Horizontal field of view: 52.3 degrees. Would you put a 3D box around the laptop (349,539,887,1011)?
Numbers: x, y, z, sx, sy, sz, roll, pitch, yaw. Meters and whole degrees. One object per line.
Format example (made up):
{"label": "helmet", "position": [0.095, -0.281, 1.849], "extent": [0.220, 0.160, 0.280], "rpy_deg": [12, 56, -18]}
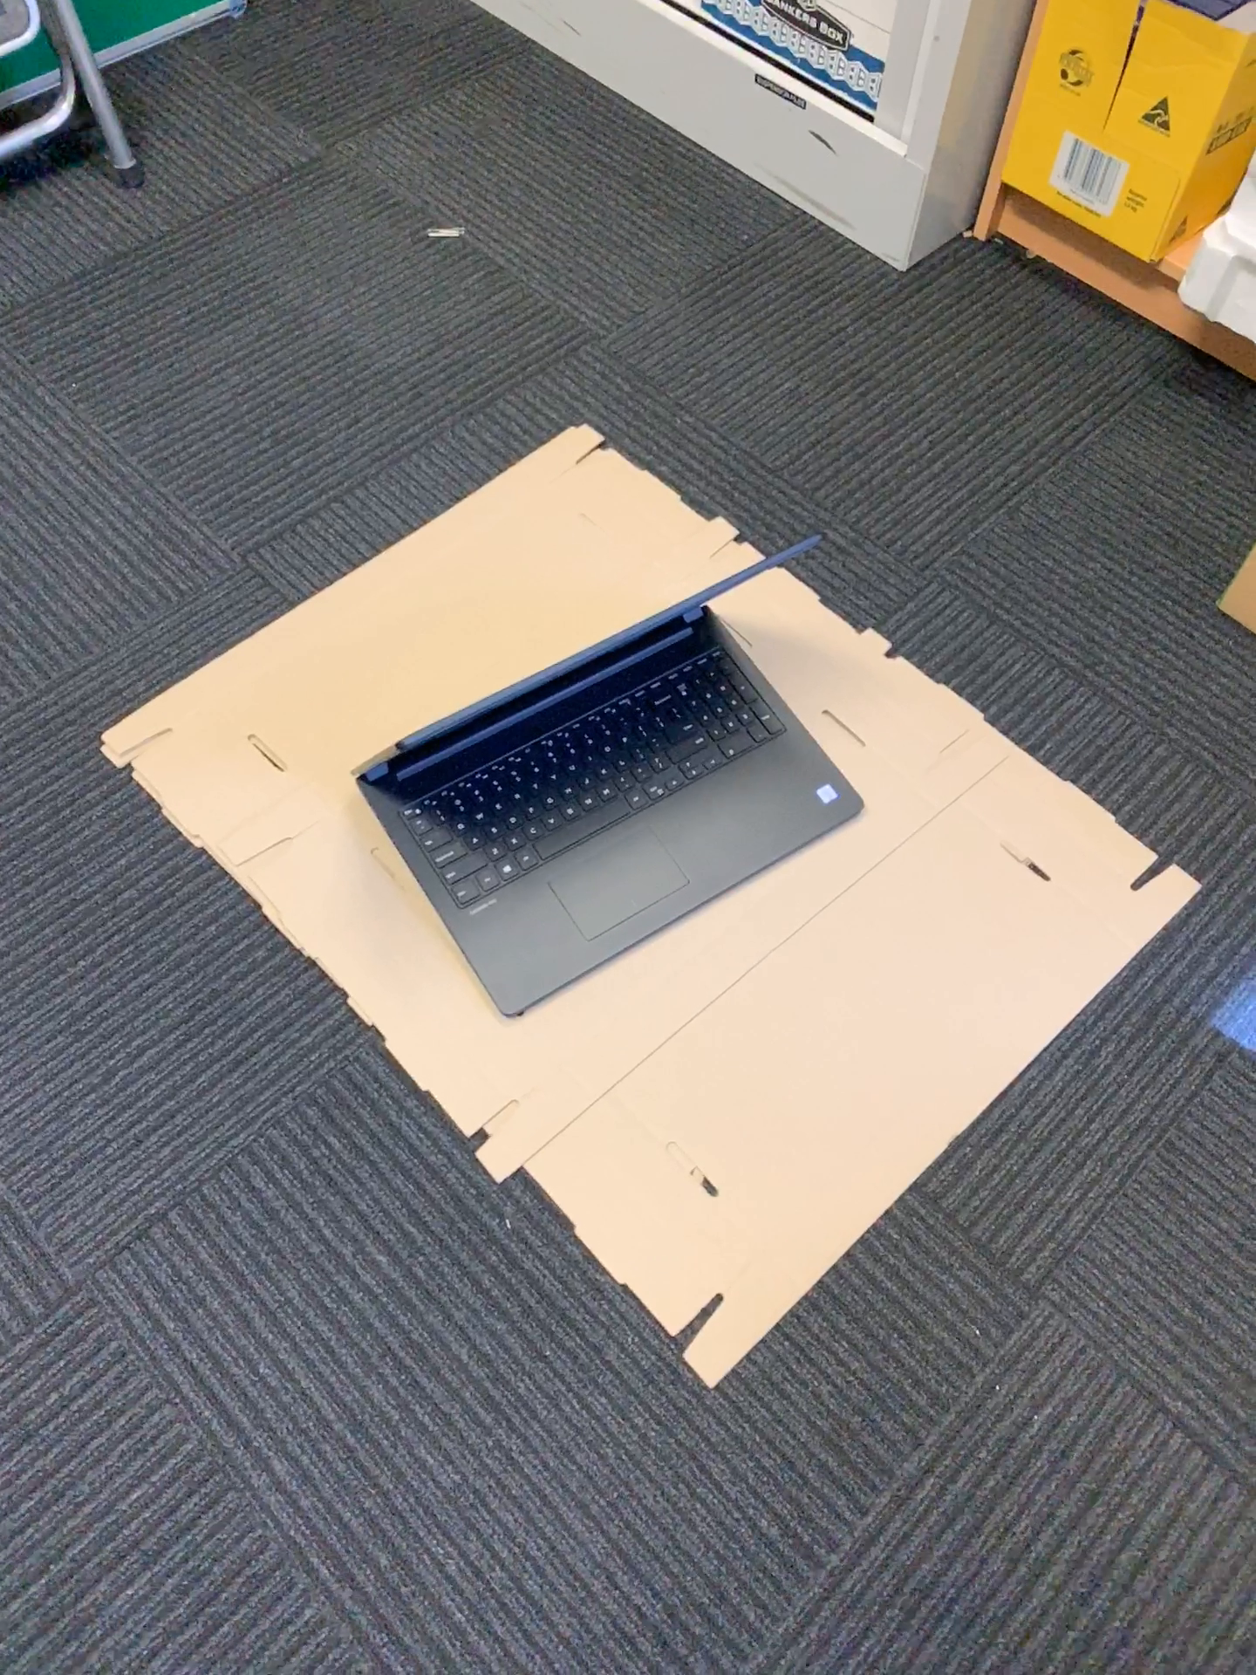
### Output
{"label": "laptop", "position": [-0.006, -0.058, 0.990], "extent": [0.341, 0.085, 0.221], "rpy_deg": [-29, 68, -18]}
